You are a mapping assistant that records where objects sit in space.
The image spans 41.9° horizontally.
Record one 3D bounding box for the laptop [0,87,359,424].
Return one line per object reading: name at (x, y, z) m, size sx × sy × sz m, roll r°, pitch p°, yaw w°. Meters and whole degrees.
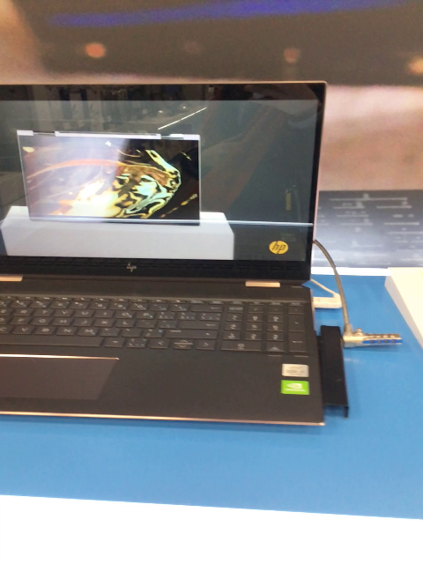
laptop at (-0.100, -0.044, 0.465) m, size 0.392 × 0.211 × 0.255 m, roll 2°, pitch 27°, yaw 4°
